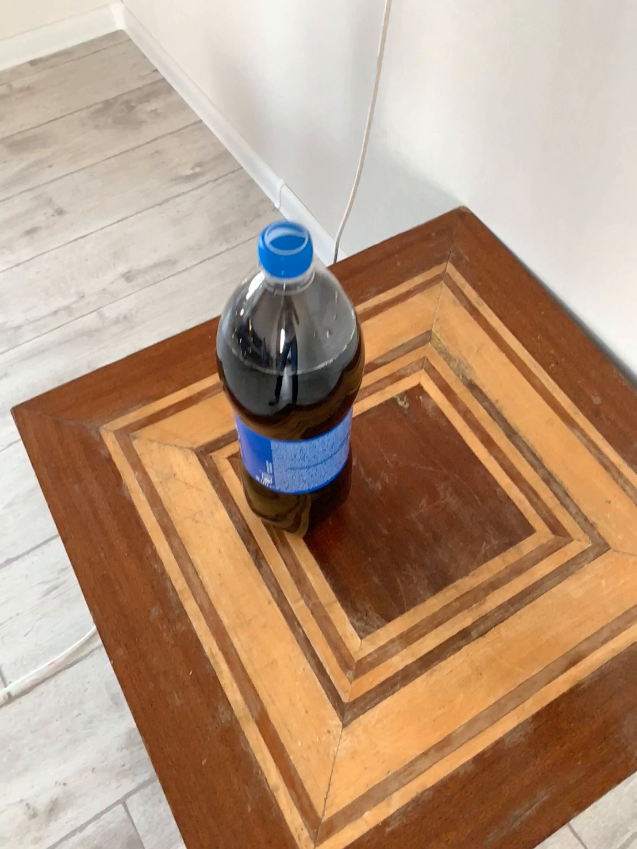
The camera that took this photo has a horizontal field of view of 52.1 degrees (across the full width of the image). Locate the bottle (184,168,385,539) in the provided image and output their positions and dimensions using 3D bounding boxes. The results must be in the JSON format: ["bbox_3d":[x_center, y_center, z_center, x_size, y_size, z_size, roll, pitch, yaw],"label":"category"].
[{"bbox_3d":[-0.019,-0.019,0.497,0.100,0.339,0.100,0,61,0],"label":"bottle"}]
